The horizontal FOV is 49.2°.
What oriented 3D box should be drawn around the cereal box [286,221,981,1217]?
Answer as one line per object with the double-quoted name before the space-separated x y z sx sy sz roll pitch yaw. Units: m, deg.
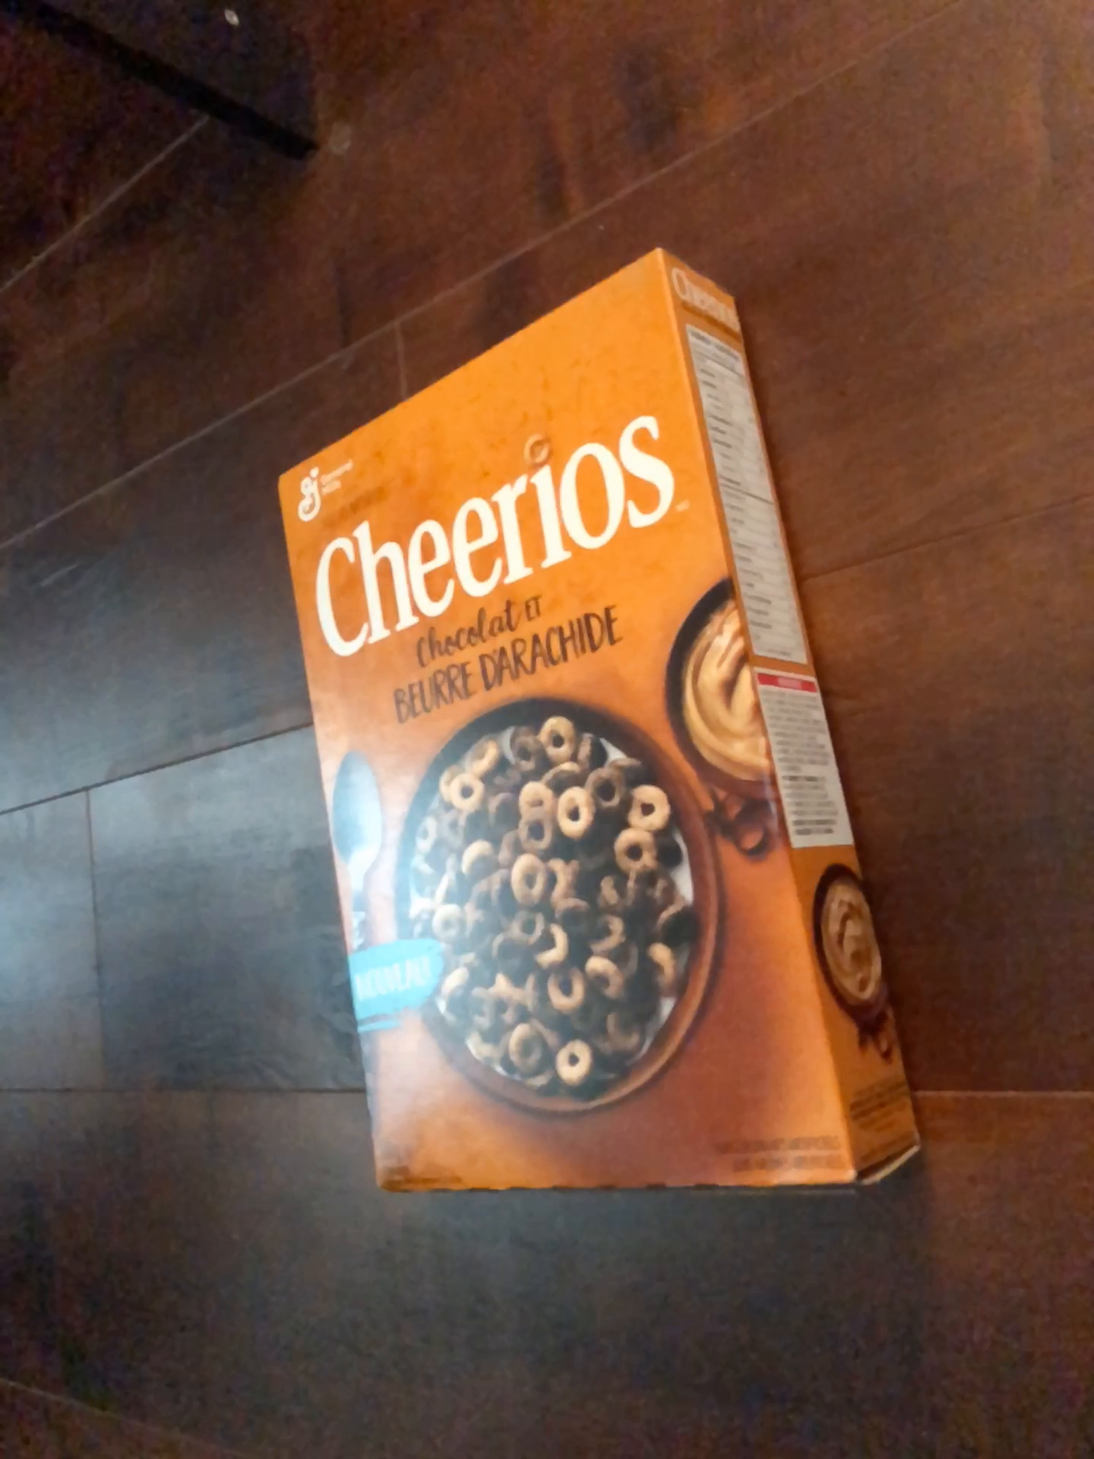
"cereal box" 0.012 0.011 0.432 0.201 0.060 0.300 -19 76 38
